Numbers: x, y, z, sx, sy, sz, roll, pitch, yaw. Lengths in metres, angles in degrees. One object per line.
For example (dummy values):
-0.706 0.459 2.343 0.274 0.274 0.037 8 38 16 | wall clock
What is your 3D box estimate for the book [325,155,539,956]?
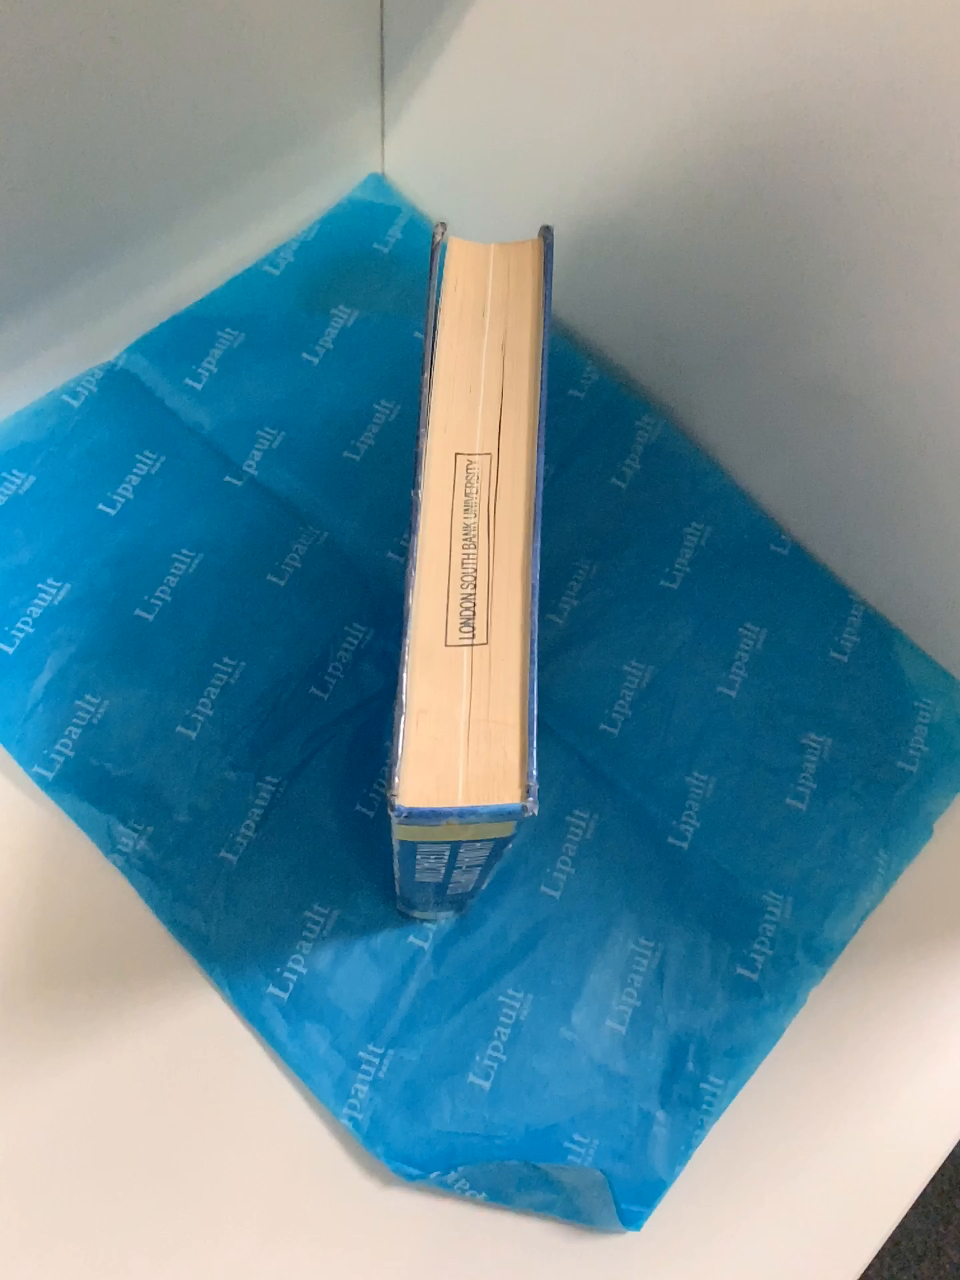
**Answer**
-0.019 -0.003 0.394 0.050 0.259 0.221 2 66 -4 | book
